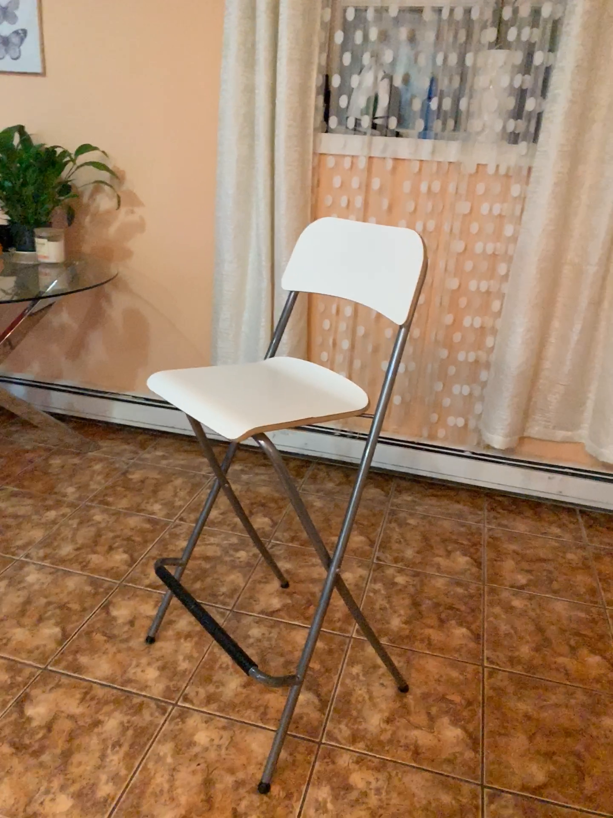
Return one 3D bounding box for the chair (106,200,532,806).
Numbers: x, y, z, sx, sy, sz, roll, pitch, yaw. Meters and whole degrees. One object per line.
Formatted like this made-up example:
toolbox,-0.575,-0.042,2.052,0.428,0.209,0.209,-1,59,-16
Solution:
chair,-0.030,0.116,1.346,0.543,1.007,0.600,-14,28,-41
